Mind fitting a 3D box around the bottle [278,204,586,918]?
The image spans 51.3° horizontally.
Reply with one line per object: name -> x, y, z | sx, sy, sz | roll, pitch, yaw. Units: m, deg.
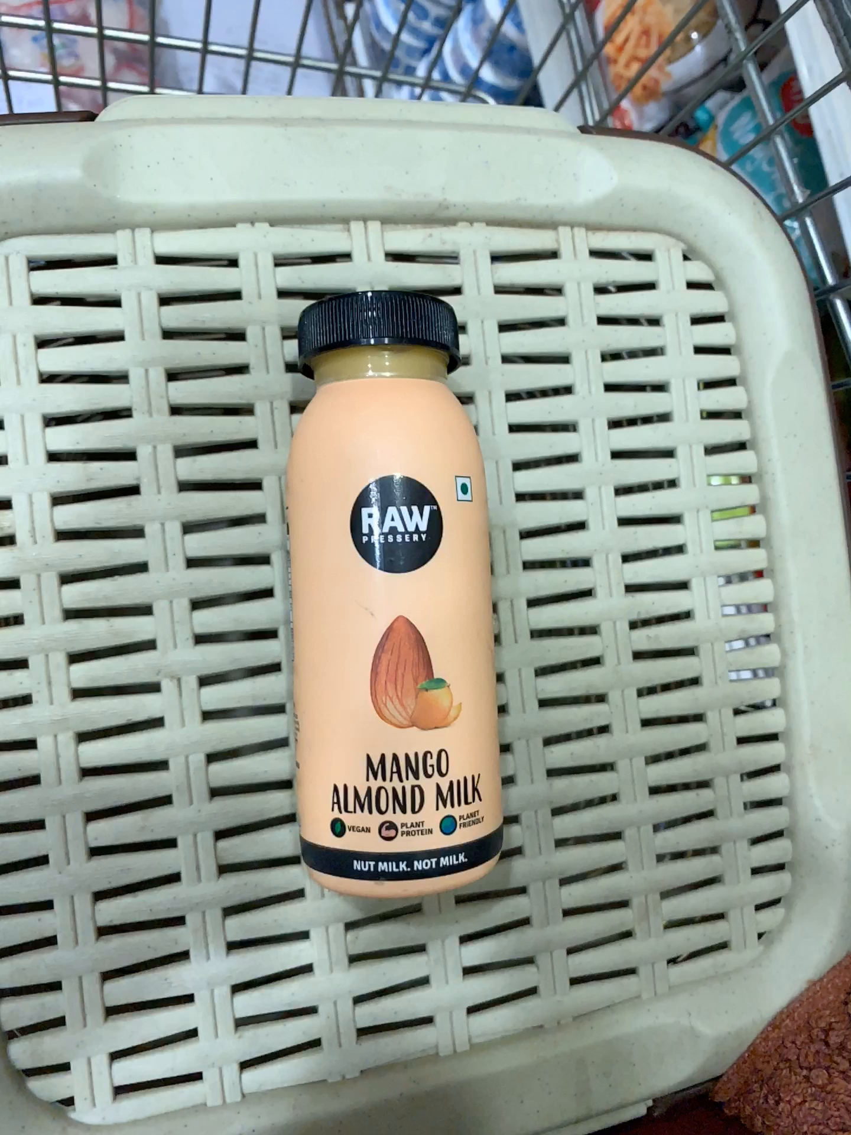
bottle -> -0.001, -0.002, 0.214 | 0.060, 0.040, 0.150 | -1, 88, -17
